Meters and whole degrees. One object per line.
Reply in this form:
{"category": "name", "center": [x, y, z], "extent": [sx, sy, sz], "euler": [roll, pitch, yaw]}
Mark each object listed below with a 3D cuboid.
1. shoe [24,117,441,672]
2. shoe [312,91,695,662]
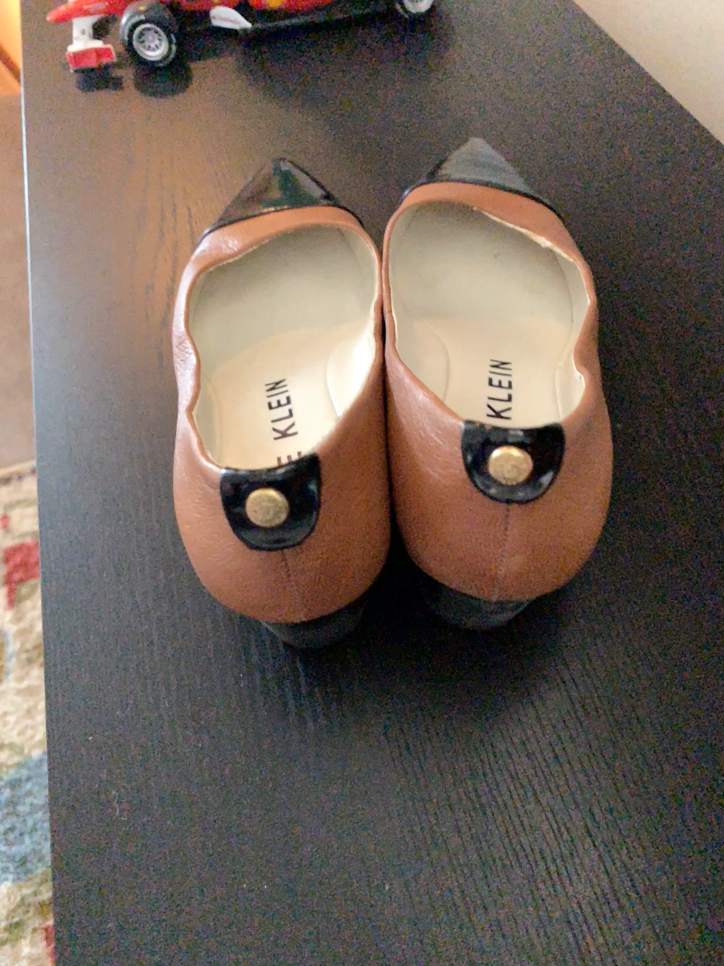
{"category": "shoe", "center": [-0.032, -0.063, 0.289], "extent": [0.090, 0.079, 0.262], "euler": [-3, 39, 0]}
{"category": "shoe", "center": [0.041, -0.068, 0.283], "extent": [0.080, 0.079, 0.262], "euler": [1, 41, 5]}
